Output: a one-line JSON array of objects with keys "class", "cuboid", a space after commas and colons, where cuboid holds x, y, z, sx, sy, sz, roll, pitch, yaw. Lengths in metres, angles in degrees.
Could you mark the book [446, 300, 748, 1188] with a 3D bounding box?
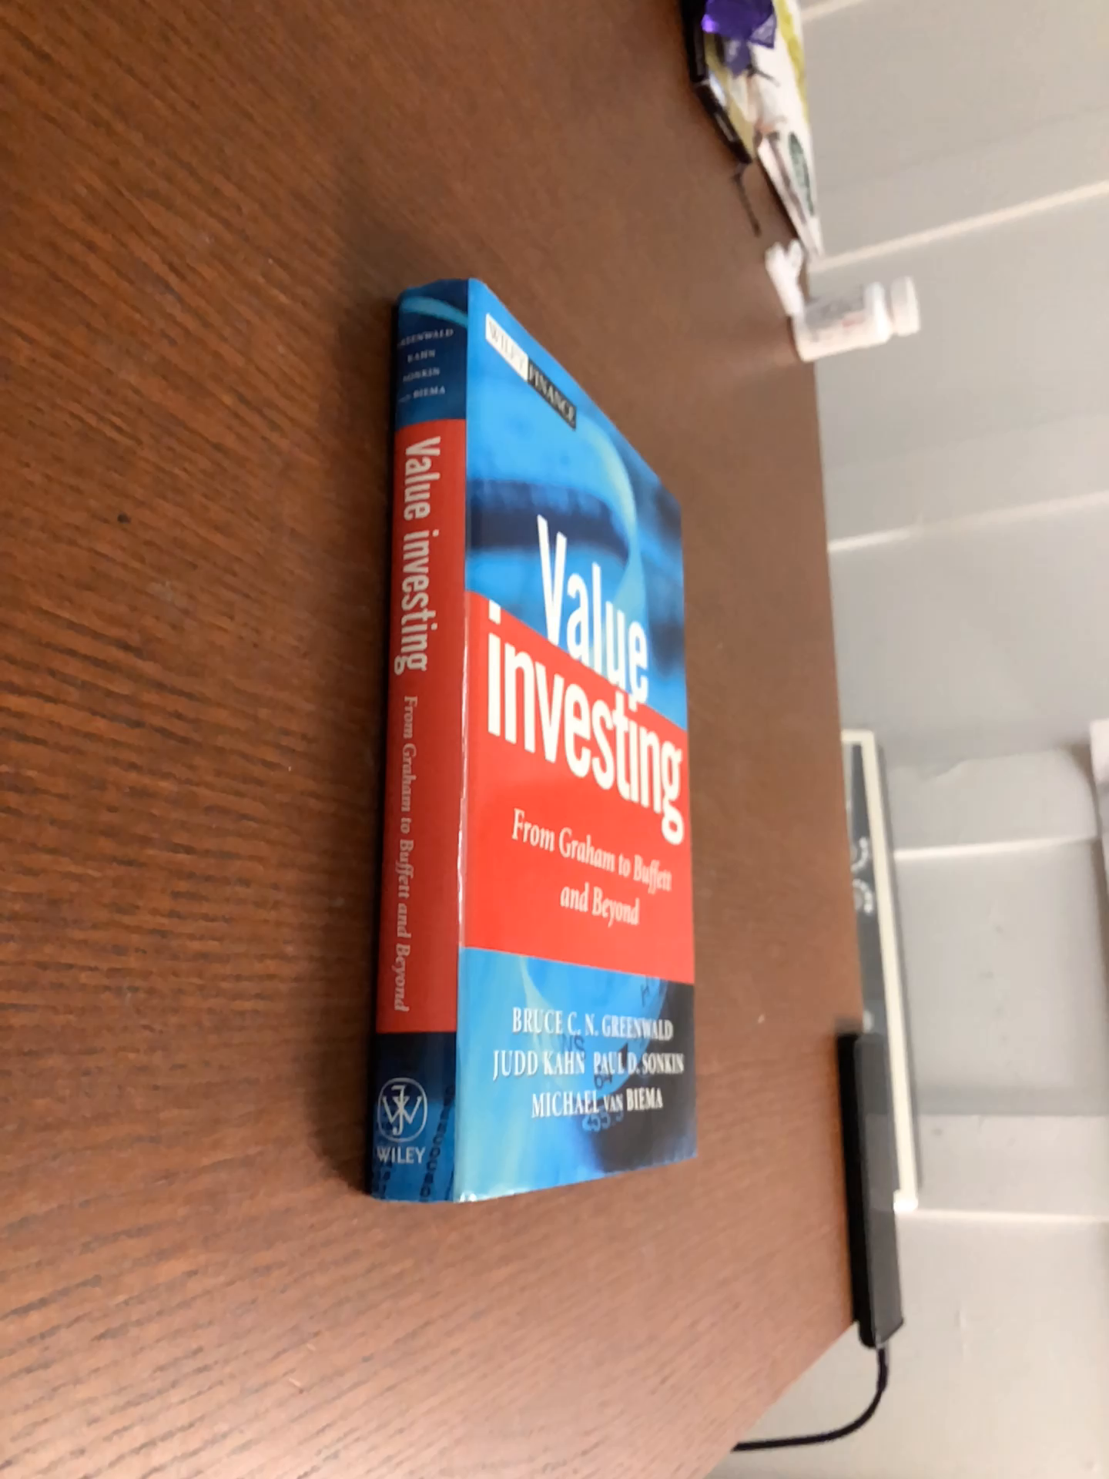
[{"class": "book", "cuboid": [0.021, 0.012, 0.387, 0.171, 0.020, 0.230, 30, 57, -60]}]
